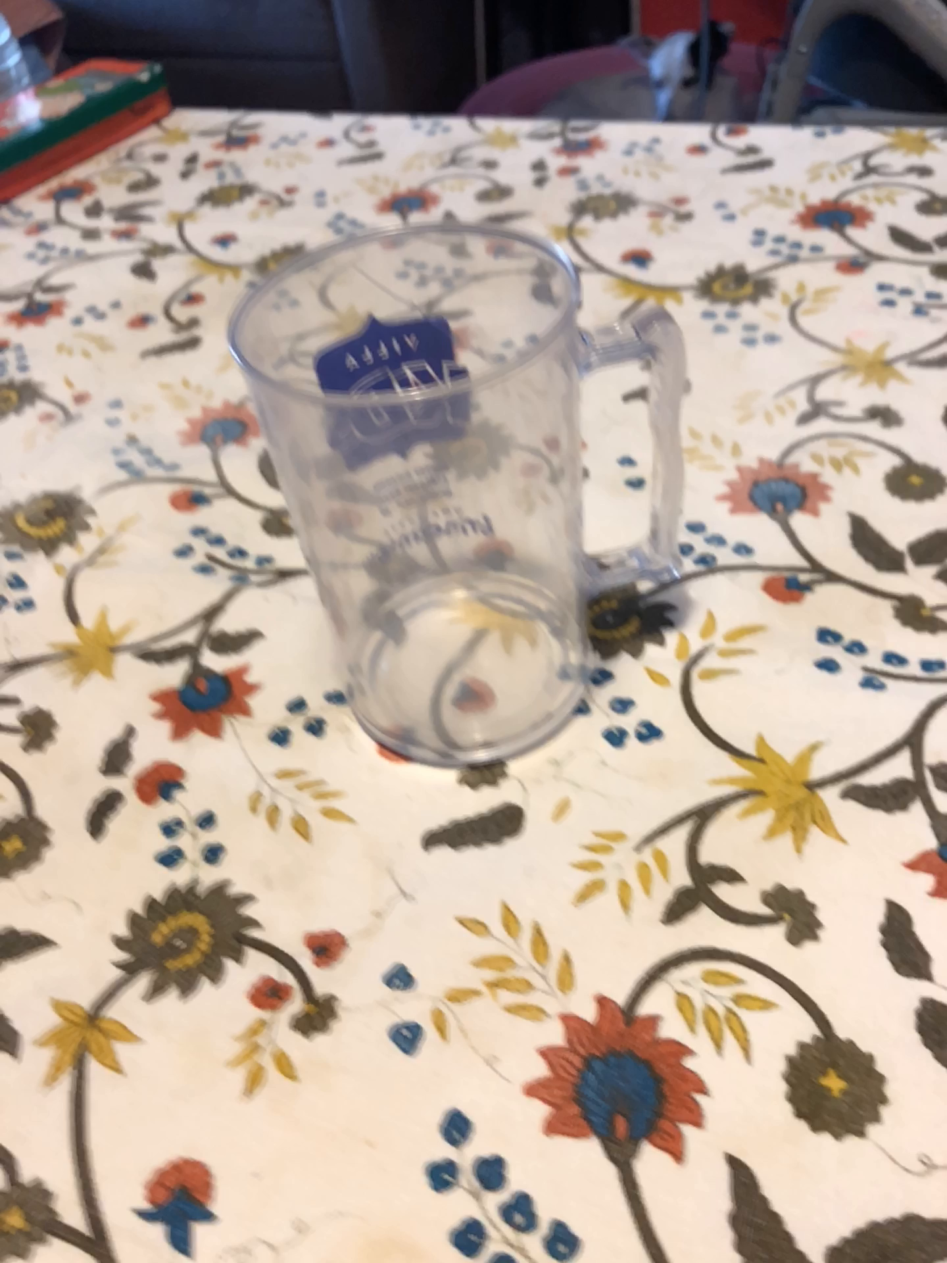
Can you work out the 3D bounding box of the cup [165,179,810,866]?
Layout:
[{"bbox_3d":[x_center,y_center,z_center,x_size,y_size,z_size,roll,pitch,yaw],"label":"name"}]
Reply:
[{"bbox_3d":[0.002,-0.024,0.246,0.110,0.109,0.081,-15,45,-6],"label":"cup"}]
